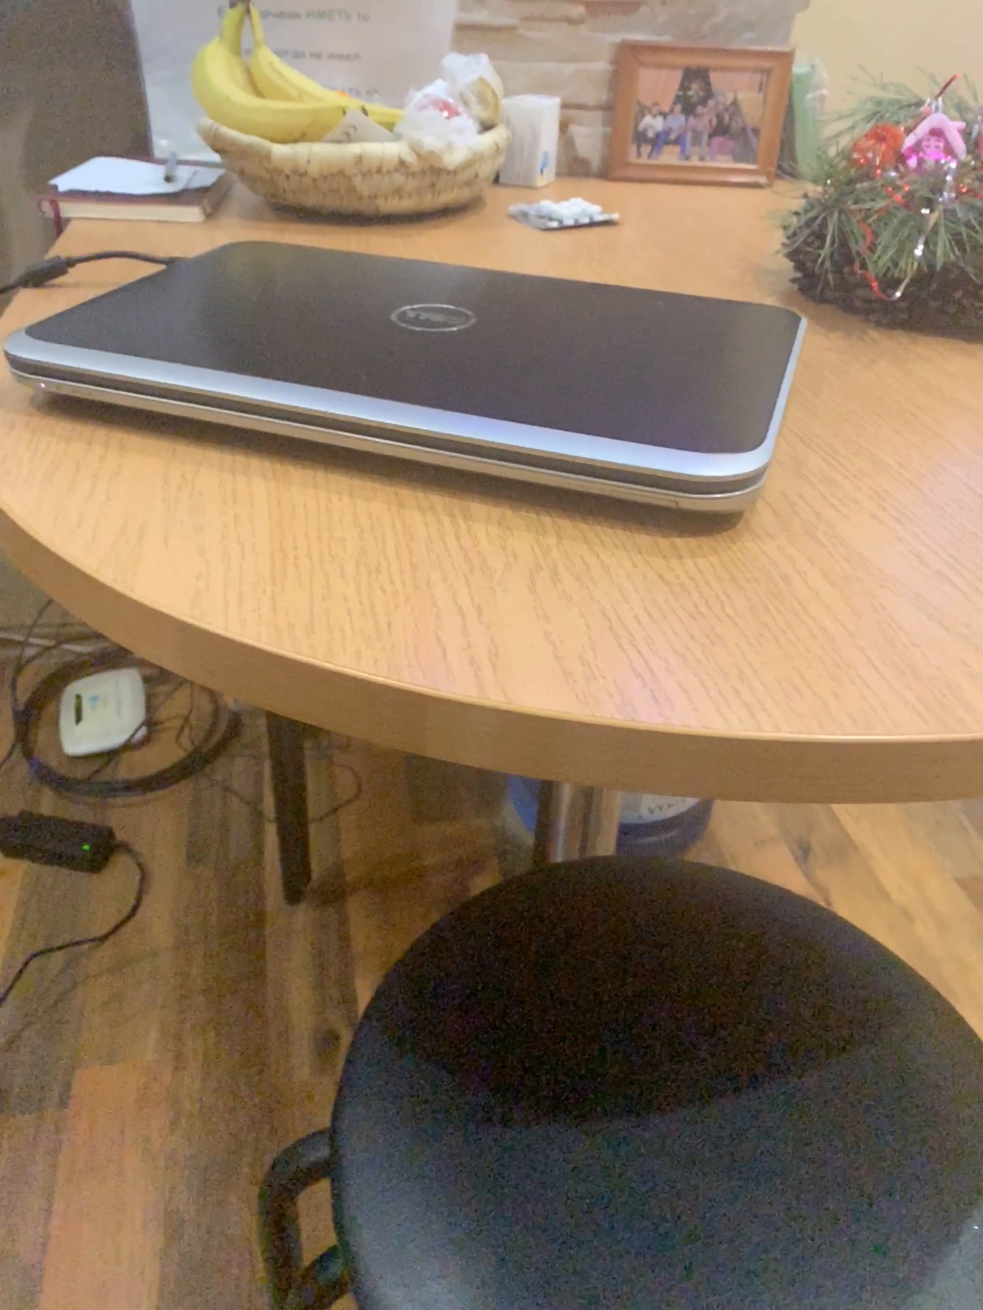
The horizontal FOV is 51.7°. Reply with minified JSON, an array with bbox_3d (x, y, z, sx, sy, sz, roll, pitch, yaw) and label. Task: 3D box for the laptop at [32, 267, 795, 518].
[{"bbox_3d":[-0.029,-0.158,0.544,0.349,0.004,0.226,13,38,17],"label":"laptop"}]
